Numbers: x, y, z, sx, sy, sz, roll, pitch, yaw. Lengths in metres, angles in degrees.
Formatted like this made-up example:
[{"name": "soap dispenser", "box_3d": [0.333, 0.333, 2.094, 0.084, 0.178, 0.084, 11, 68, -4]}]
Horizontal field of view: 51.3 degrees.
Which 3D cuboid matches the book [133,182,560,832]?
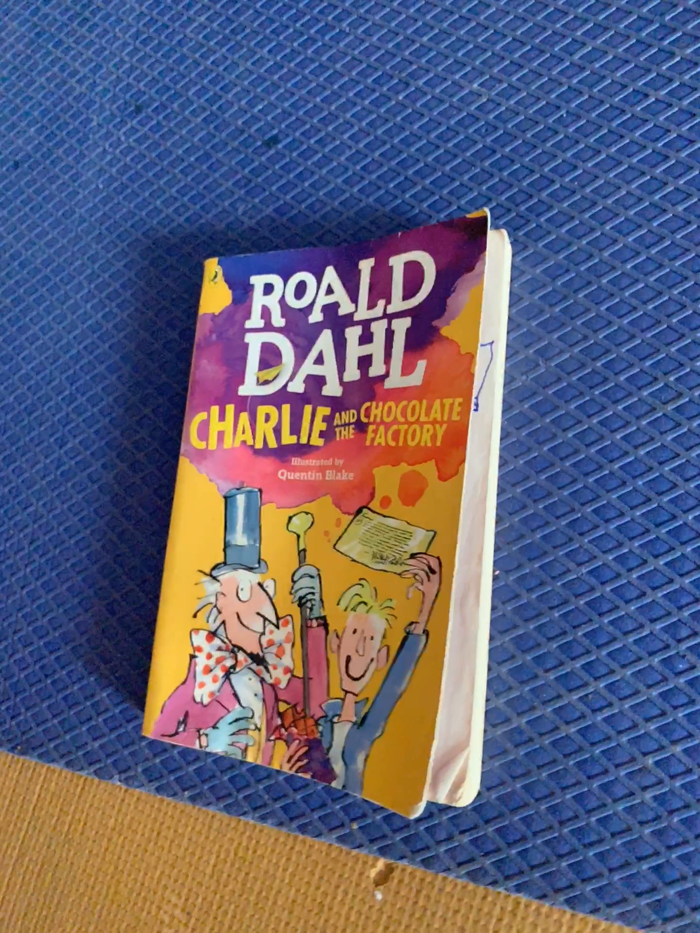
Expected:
[{"name": "book", "box_3d": [-0.001, 0.005, 0.270, 0.140, 0.020, 0.210, 2, 79, 23]}]
